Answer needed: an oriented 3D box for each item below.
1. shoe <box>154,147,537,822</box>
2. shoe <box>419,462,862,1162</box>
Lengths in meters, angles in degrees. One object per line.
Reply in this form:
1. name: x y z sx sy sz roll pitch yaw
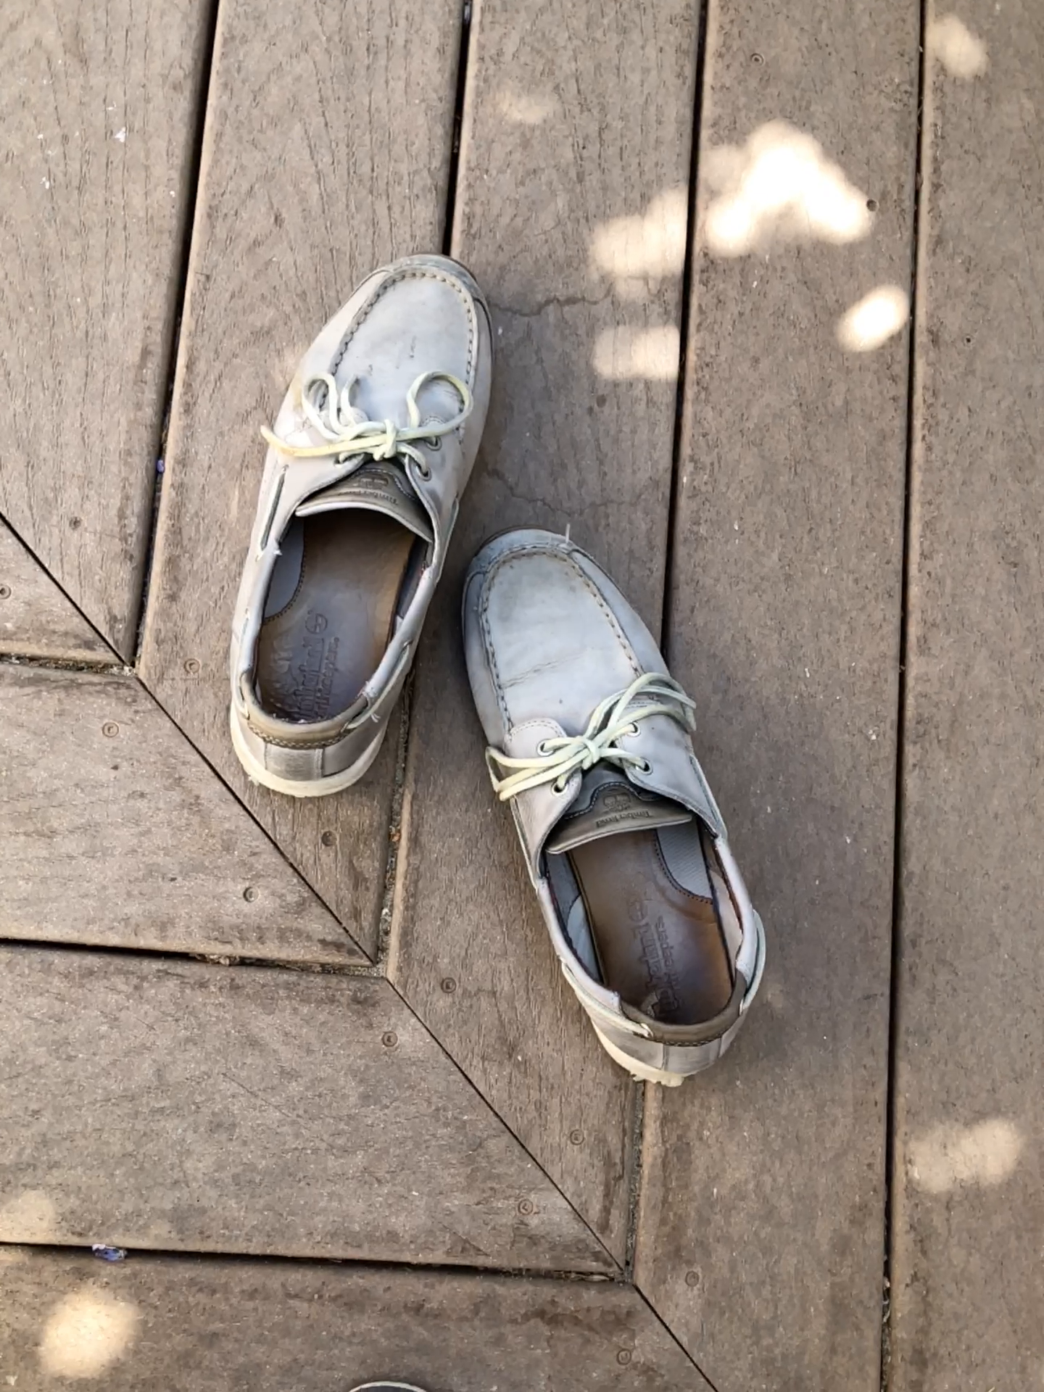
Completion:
1. shoe: -0.086 -0.103 0.600 0.116 0.099 0.314 12 80 -6
2. shoe: 0.050 0.055 0.599 0.120 0.109 0.310 -16 84 -10
